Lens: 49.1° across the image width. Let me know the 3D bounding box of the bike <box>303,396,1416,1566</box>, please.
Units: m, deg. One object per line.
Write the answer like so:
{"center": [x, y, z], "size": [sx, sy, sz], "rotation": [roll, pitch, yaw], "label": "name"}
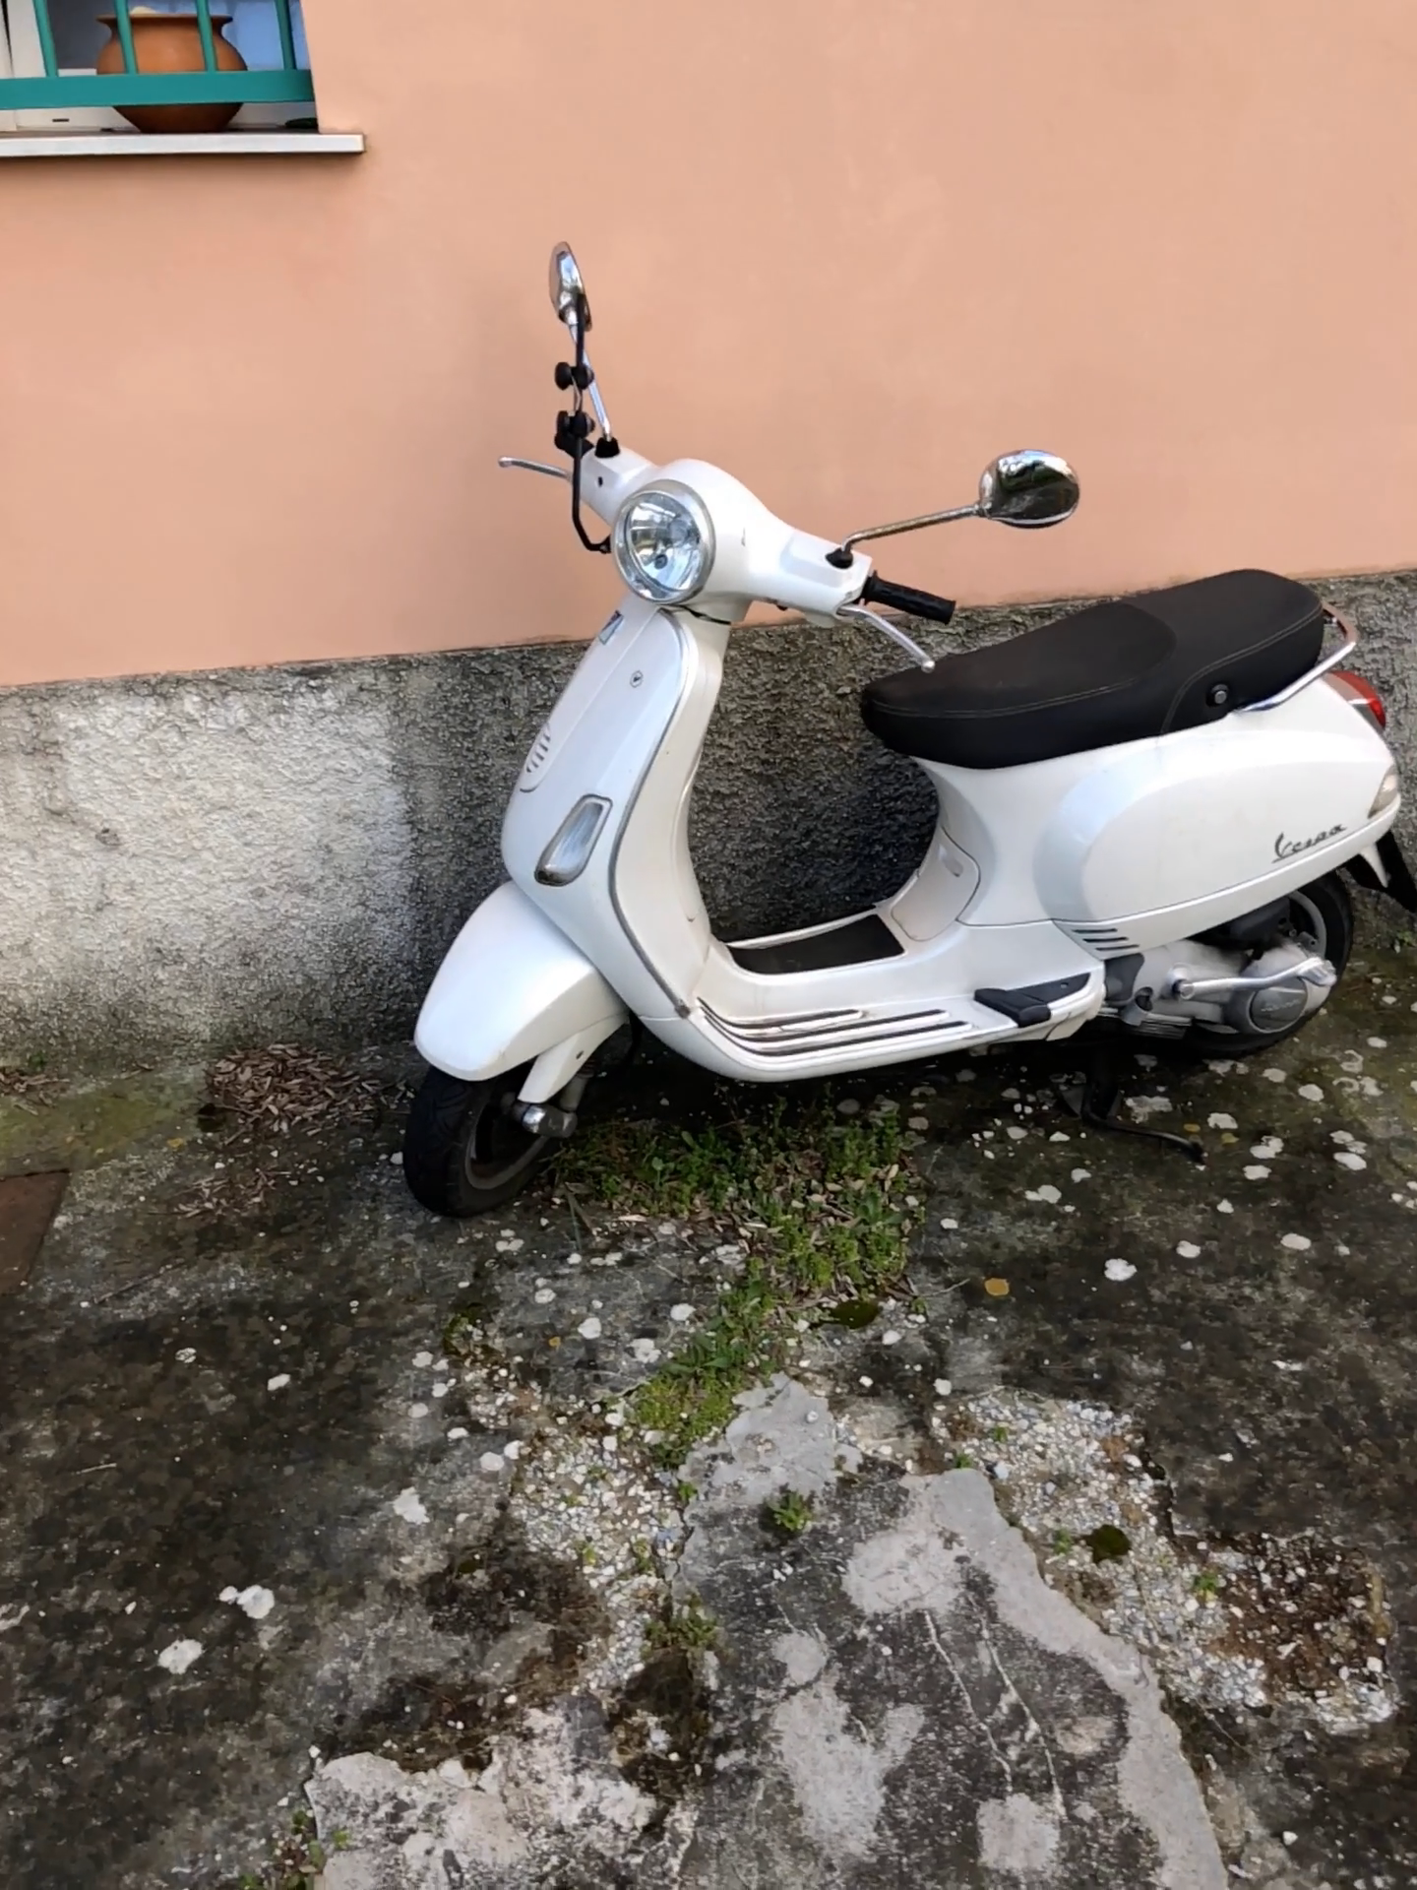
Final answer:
{"center": [0.343, -0.053, 2.182], "size": [1.658, 1.085, 0.647], "rotation": [-12, 27, -15], "label": "bike"}
